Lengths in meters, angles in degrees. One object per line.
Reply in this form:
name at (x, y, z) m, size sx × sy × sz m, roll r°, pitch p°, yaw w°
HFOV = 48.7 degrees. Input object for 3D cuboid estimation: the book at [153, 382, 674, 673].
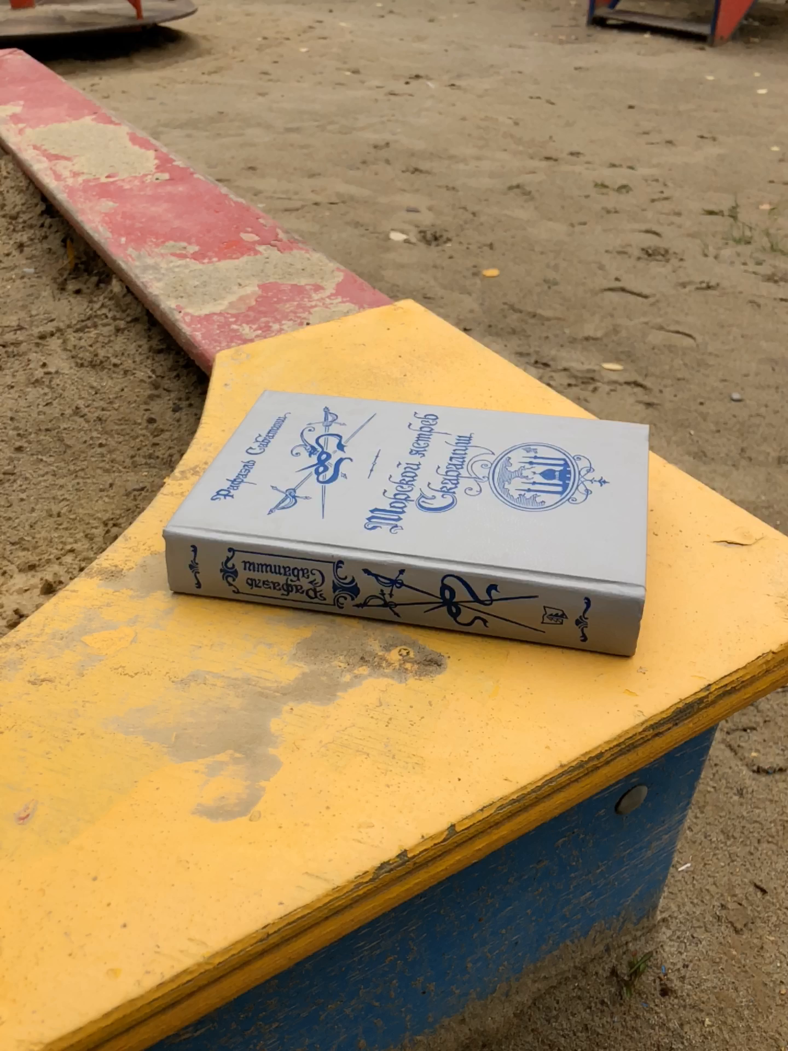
book at (0.017, -0.009, 0.408) m, size 0.210 × 0.037 × 0.136 m, roll 8°, pitch 37°, yaw 10°
